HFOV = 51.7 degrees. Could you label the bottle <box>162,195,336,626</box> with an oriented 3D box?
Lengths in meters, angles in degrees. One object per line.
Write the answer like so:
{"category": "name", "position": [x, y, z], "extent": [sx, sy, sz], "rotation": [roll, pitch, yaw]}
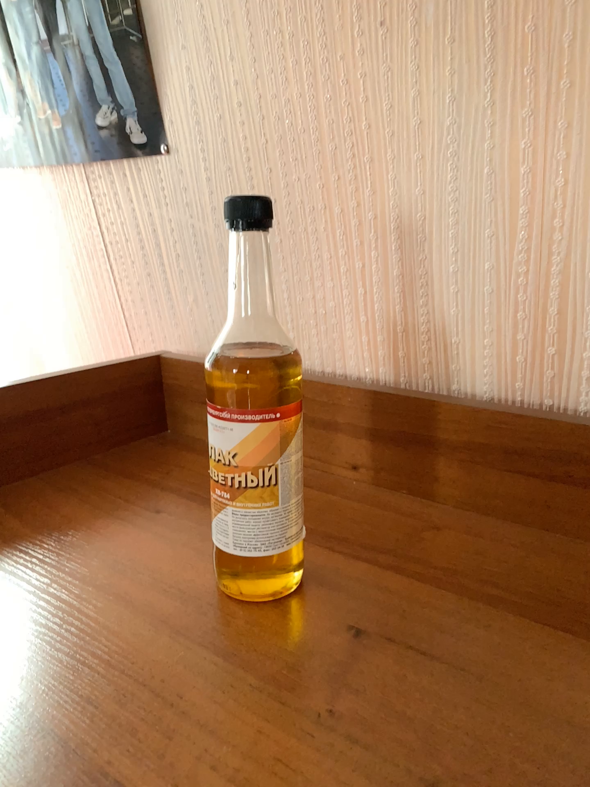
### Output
{"category": "bottle", "position": [-0.029, 0.007, 0.403], "extent": [0.080, 0.259, 0.070], "rotation": [12, 18, 39]}
